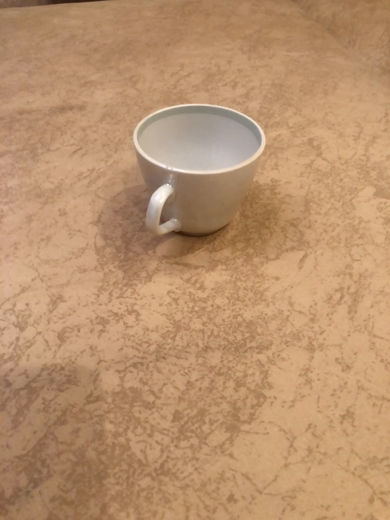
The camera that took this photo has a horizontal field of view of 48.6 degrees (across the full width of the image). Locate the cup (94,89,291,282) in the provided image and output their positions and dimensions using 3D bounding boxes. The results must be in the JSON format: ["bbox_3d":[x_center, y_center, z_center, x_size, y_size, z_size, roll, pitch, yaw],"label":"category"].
[{"bbox_3d":[0.003,-0.057,0.297,0.090,0.060,0.110,18,48,14],"label":"cup"}]
